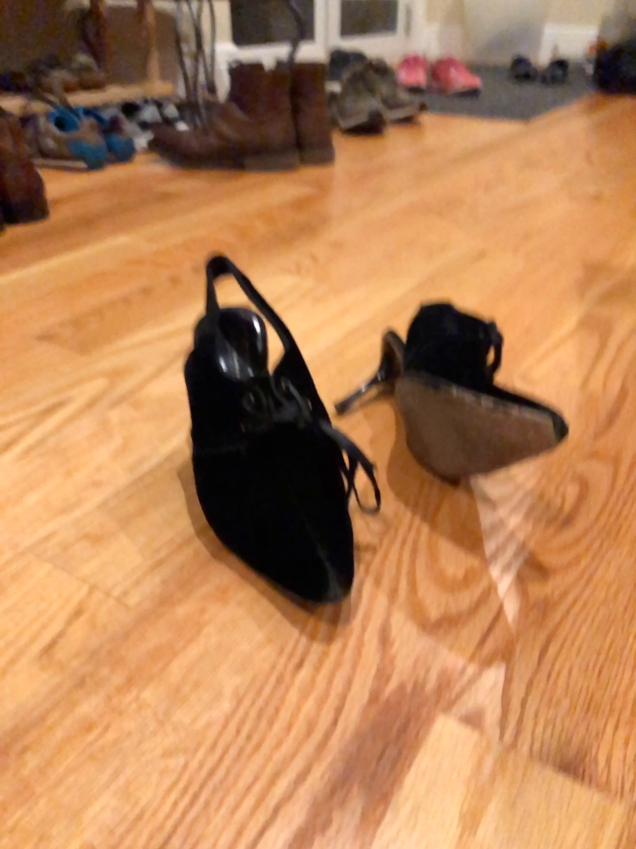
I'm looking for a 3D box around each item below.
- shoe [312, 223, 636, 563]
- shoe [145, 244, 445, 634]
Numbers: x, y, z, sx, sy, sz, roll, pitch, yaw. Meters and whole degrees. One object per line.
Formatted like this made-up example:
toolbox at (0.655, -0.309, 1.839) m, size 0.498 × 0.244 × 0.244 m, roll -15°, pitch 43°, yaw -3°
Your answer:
shoe at (0.083, -0.042, 0.470) m, size 0.118 × 0.107 × 0.253 m, roll -8°, pitch 32°, yaw -11°
shoe at (-0.032, -0.015, 0.444) m, size 0.107 × 0.117 × 0.253 m, roll -10°, pitch 32°, yaw -16°
